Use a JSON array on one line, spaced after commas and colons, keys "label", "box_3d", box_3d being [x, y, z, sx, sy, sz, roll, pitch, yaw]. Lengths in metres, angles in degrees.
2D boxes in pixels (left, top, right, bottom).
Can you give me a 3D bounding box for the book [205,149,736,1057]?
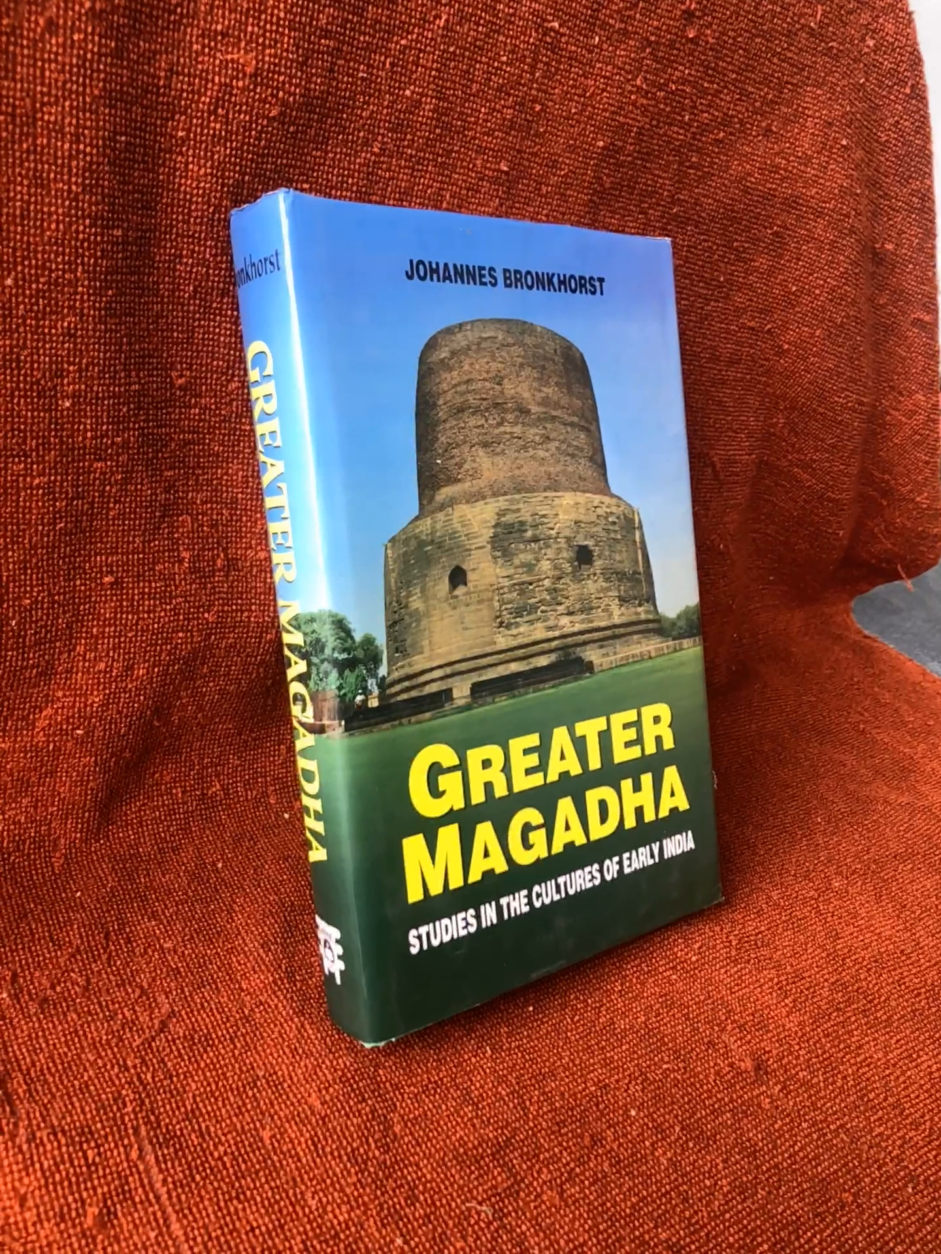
[{"label": "book", "box_3d": [0.011, -0.011, 0.307, 0.151, 0.220, 0.030, -8, 6, -36]}]
